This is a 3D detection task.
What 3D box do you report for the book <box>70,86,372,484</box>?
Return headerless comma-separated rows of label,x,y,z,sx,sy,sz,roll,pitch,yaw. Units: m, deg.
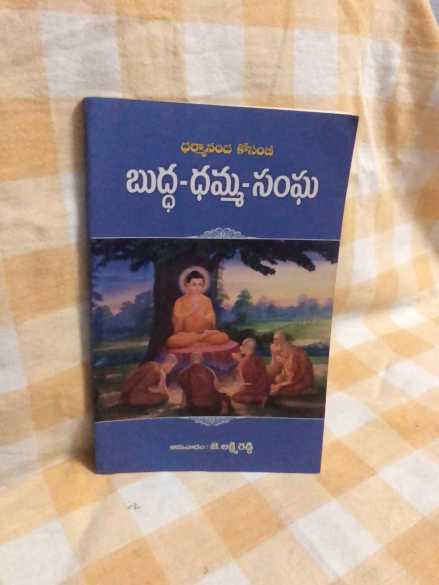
book,-0.002,0.006,0.276,0.150,0.219,0.020,1,14,-4
